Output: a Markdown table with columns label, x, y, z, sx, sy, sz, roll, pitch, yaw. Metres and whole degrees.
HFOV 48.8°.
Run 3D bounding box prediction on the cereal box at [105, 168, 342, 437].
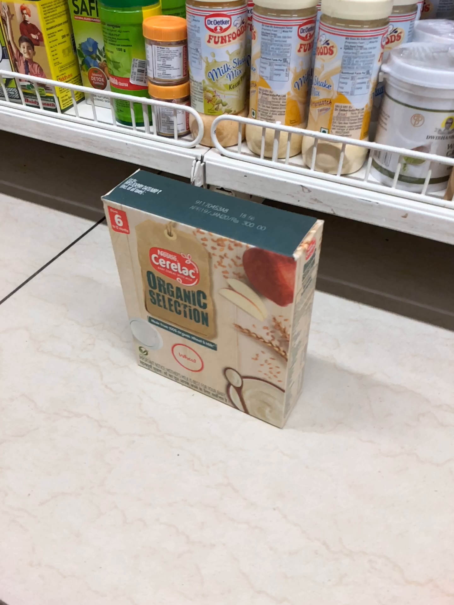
| label | x | y | z | sx | sy | sz | roll | pitch | yaw |
| --- | --- | --- | --- | --- | --- | --- | --- | --- | --- |
| cereal box | -0.005 | 0.005 | 0.411 | 0.160 | 0.189 | 0.050 | 20 | 46 | 21 |
